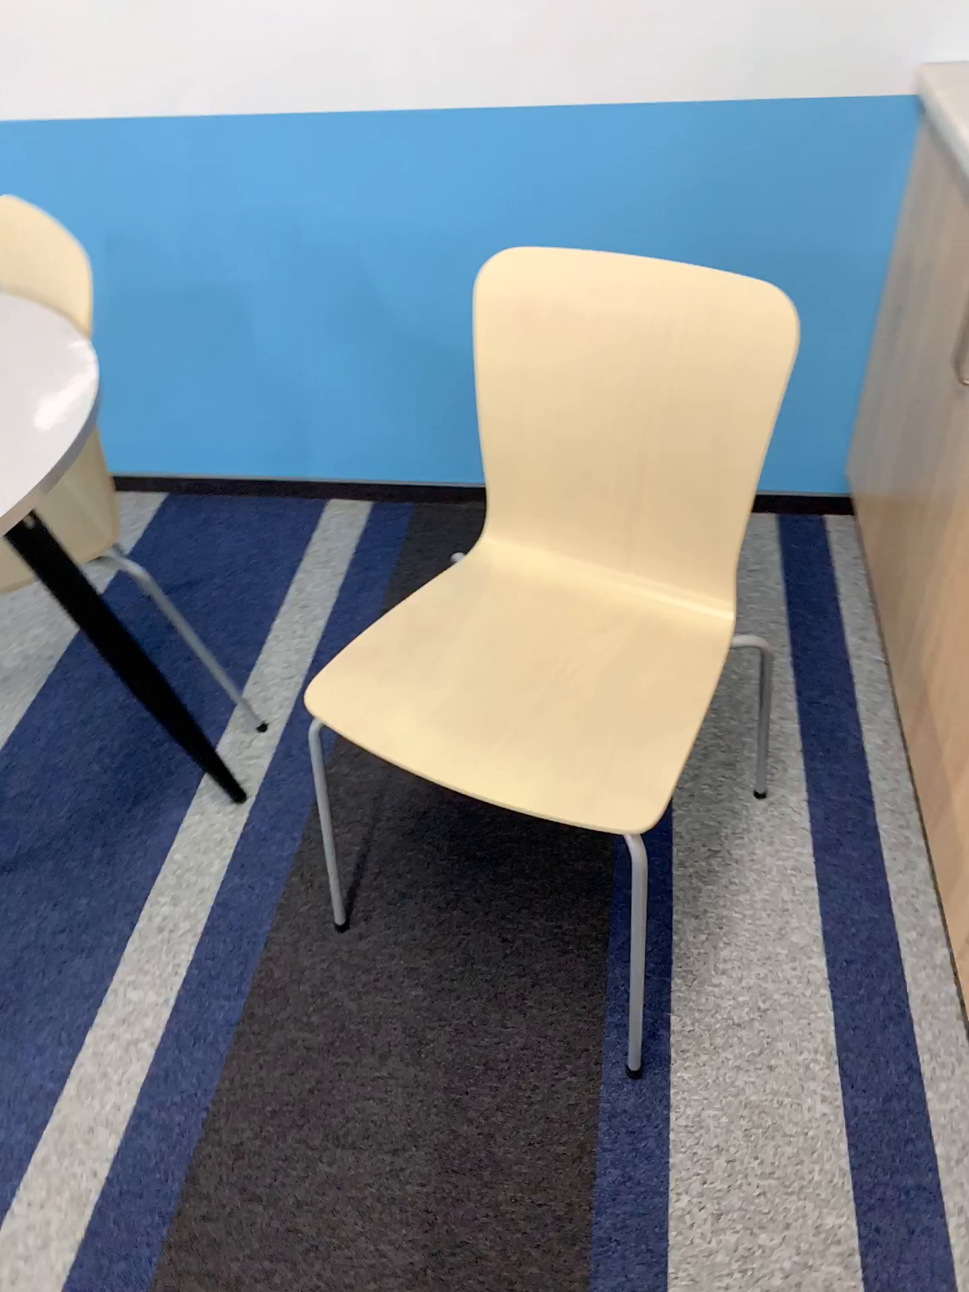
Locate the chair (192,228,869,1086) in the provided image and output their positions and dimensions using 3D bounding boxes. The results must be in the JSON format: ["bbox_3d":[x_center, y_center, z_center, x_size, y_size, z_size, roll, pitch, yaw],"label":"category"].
[{"bbox_3d":[0.103,0.011,1.279,0.477,0.836,0.572,18,46,24],"label":"chair"}]
